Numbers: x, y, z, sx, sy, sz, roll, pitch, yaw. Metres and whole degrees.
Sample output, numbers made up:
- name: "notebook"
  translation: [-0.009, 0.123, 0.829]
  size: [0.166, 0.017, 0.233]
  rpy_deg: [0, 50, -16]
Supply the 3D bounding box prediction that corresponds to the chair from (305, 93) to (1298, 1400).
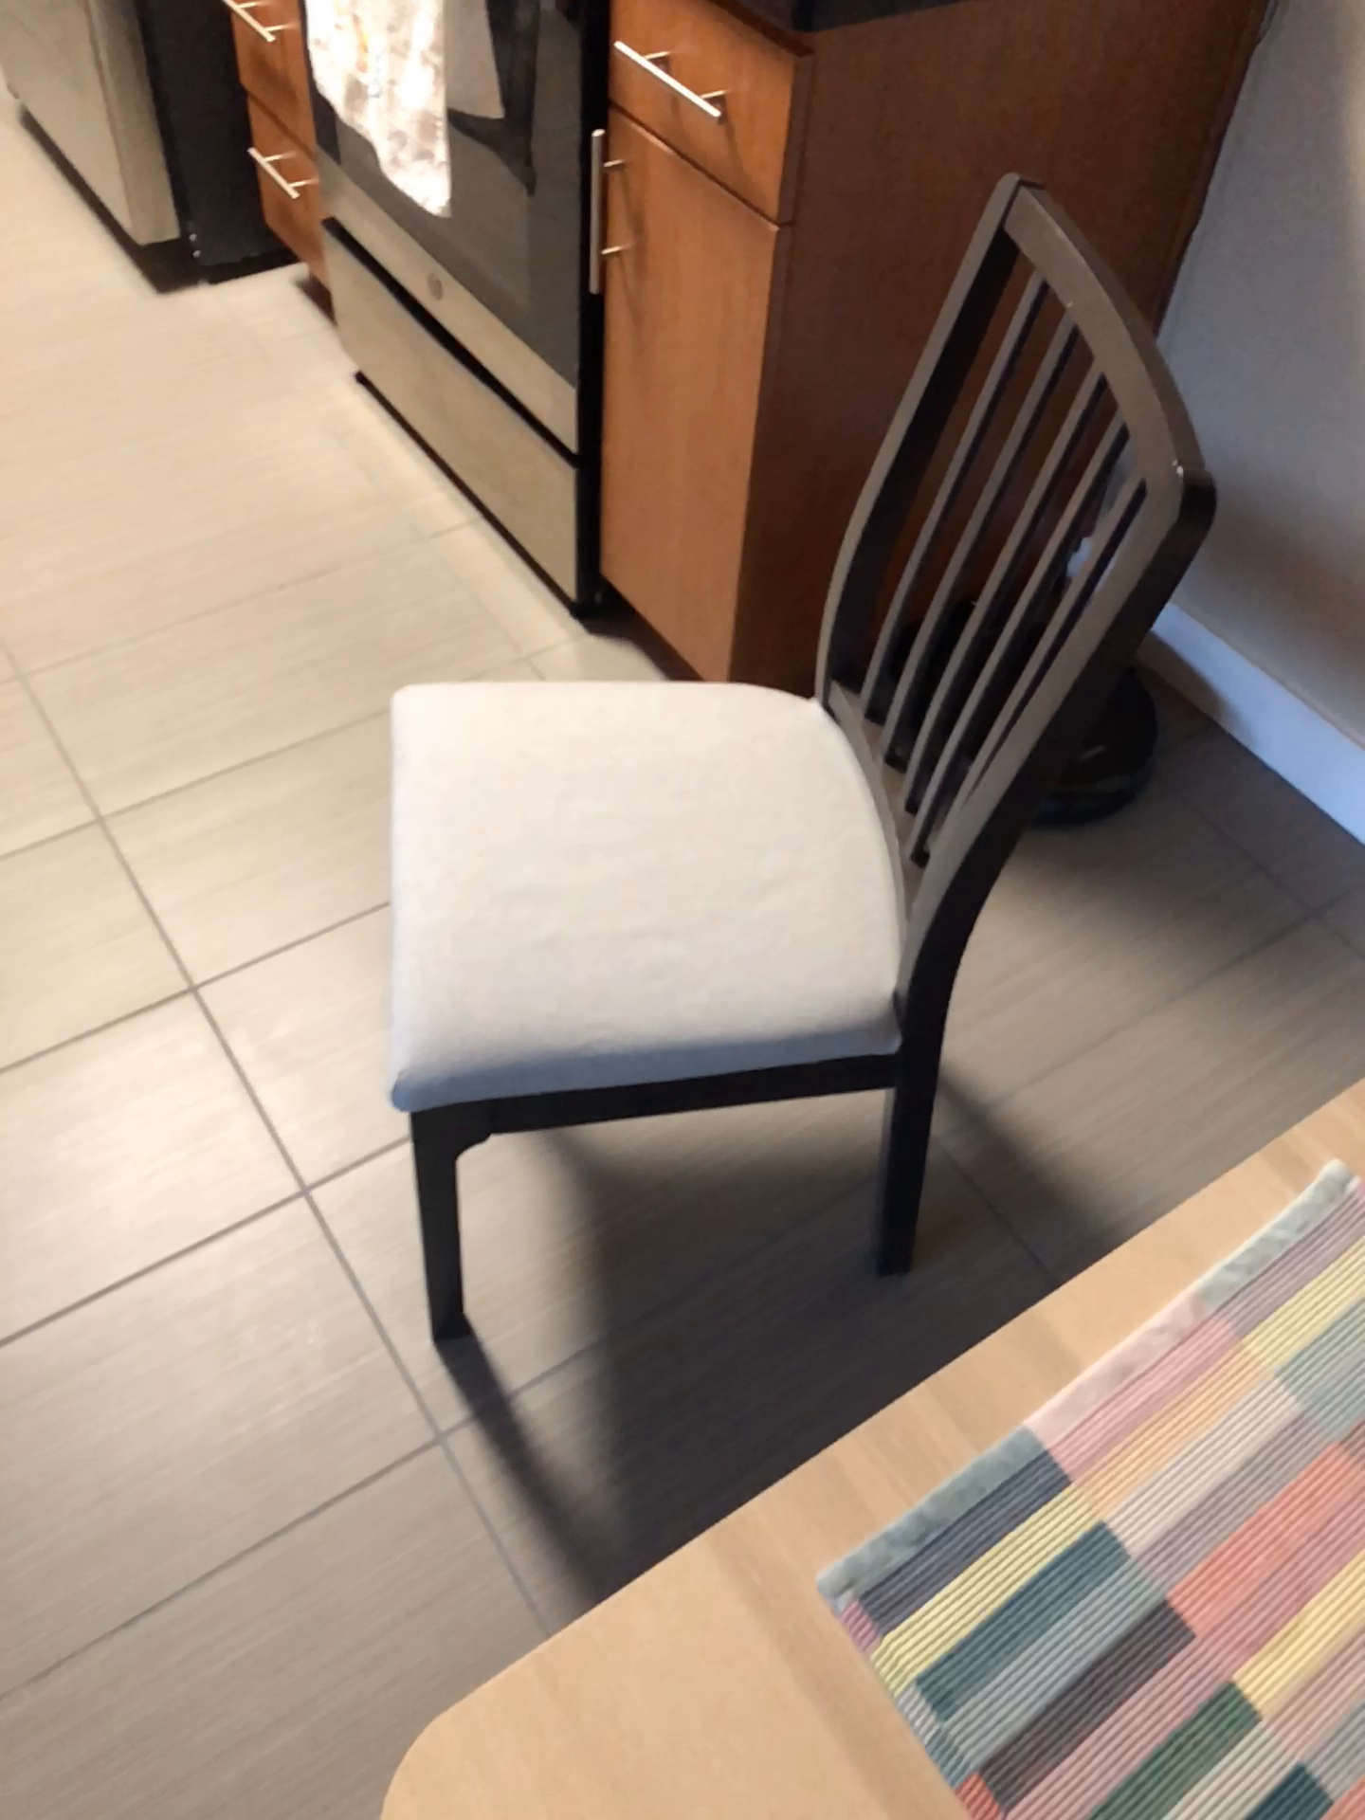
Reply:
- name: "chair"
  translation: [0.018, -0.023, 1.352]
  size: [0.510, 1.125, 0.482]
  rpy_deg: [0, 50, -5]
